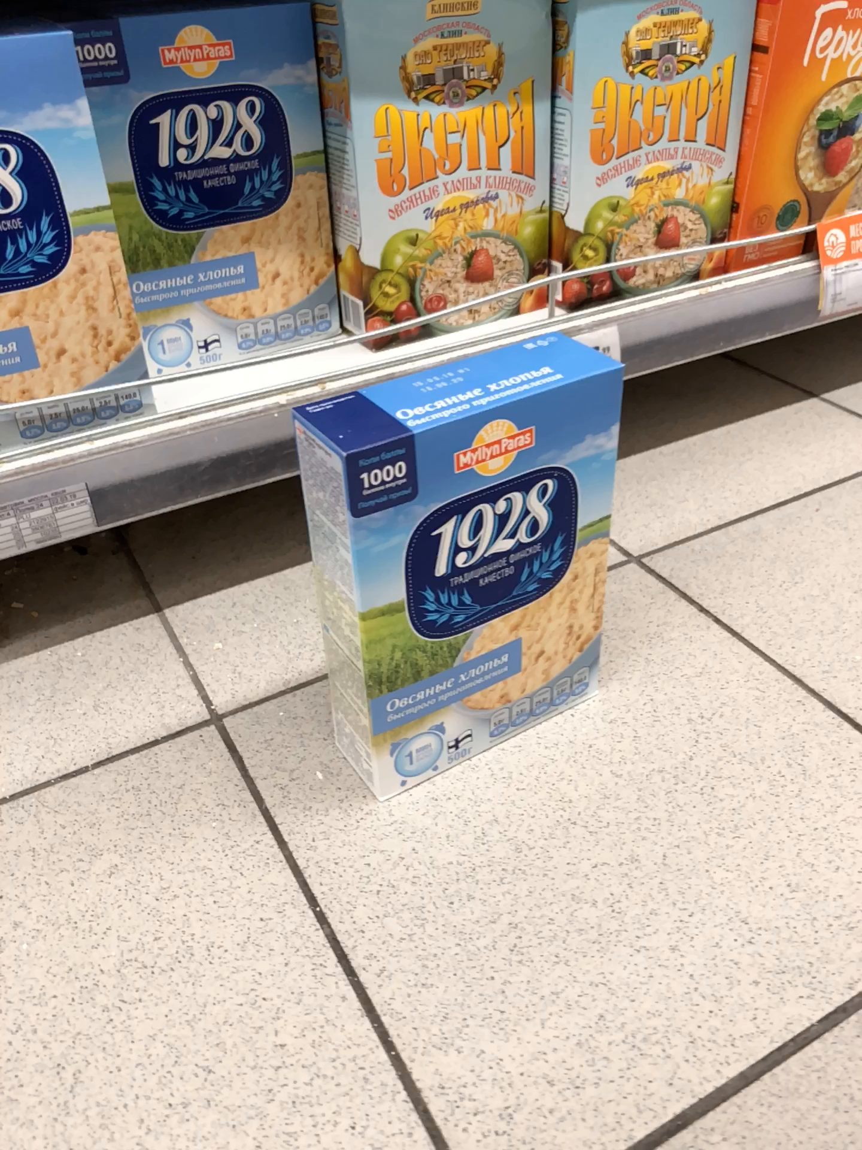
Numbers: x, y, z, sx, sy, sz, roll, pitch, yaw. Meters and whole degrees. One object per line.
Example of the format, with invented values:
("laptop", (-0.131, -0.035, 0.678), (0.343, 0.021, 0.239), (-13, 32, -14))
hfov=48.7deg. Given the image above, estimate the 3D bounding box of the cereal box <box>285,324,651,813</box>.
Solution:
("cereal box", (0.022, -0.001, 0.470), (0.150, 0.199, 0.060), (-21, 40, -24))
